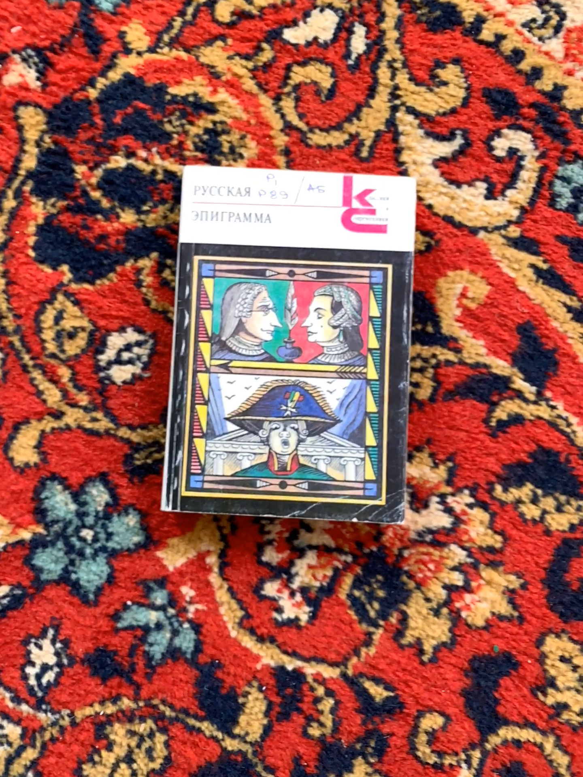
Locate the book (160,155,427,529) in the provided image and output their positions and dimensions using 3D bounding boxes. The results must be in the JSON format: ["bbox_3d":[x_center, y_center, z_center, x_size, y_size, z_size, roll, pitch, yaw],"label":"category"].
[{"bbox_3d":[0.002,-0.022,0.283,0.110,0.022,0.163,3,85,1],"label":"book"}]
